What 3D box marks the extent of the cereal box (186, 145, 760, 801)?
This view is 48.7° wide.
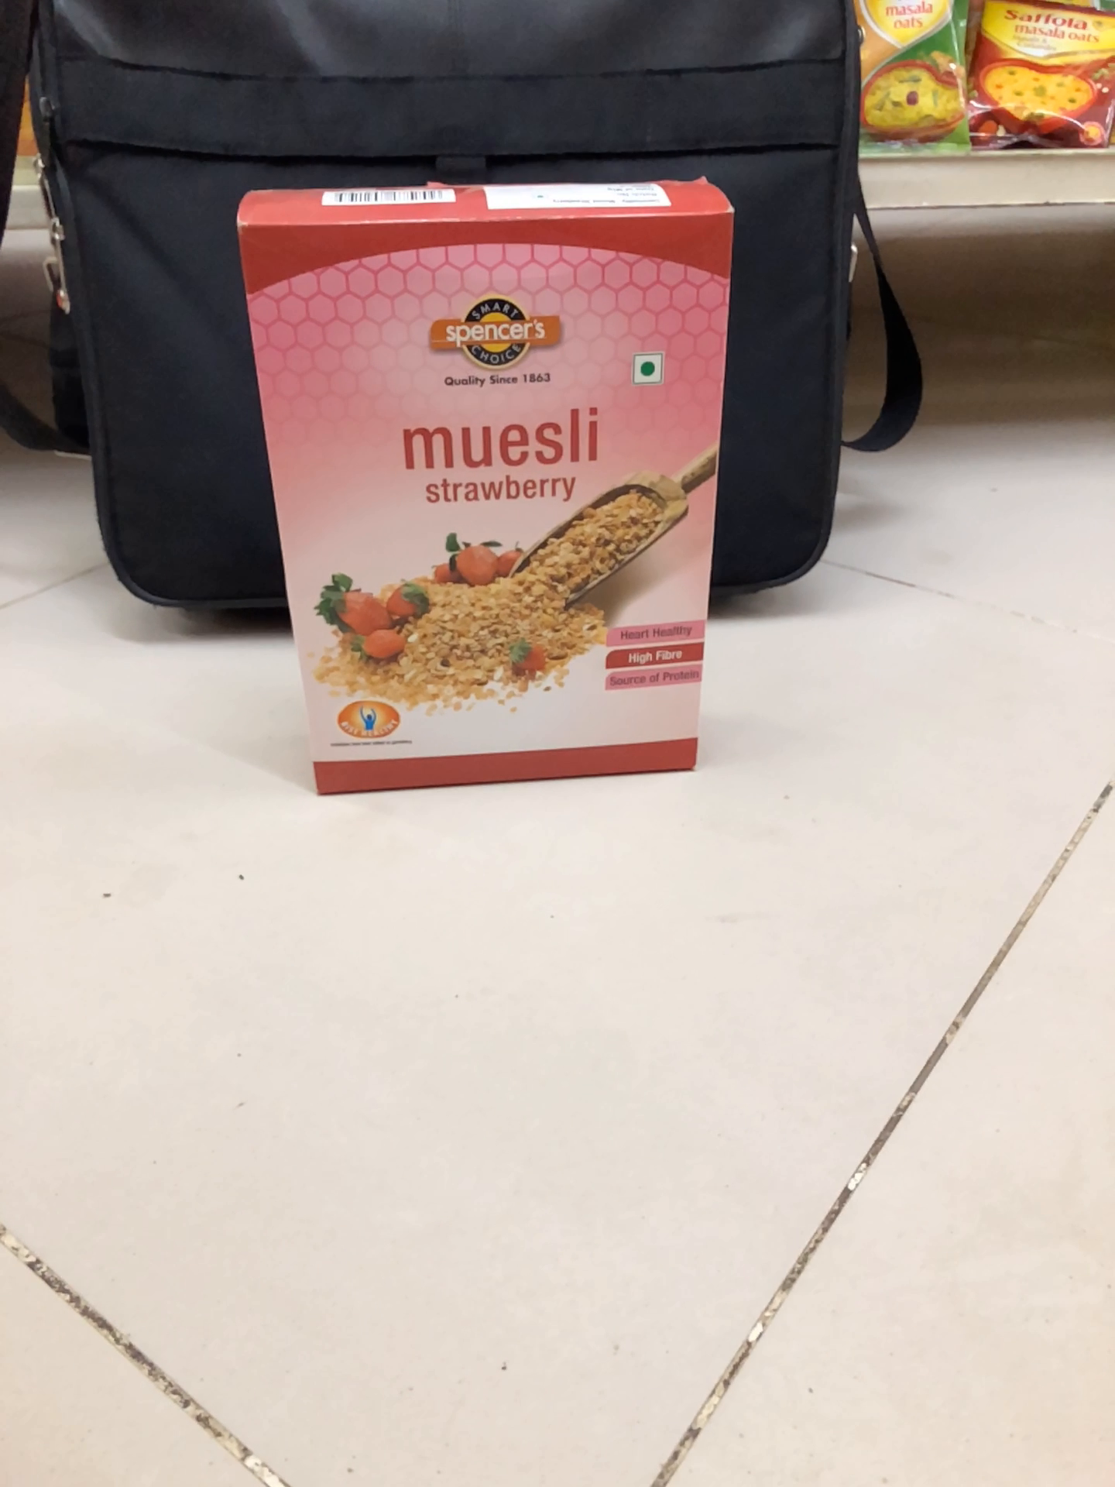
[{"bbox_3d":[-0.029,-0.105,0.524,0.200,0.258,0.060,-4,33,-4],"label":"cereal box"}]
